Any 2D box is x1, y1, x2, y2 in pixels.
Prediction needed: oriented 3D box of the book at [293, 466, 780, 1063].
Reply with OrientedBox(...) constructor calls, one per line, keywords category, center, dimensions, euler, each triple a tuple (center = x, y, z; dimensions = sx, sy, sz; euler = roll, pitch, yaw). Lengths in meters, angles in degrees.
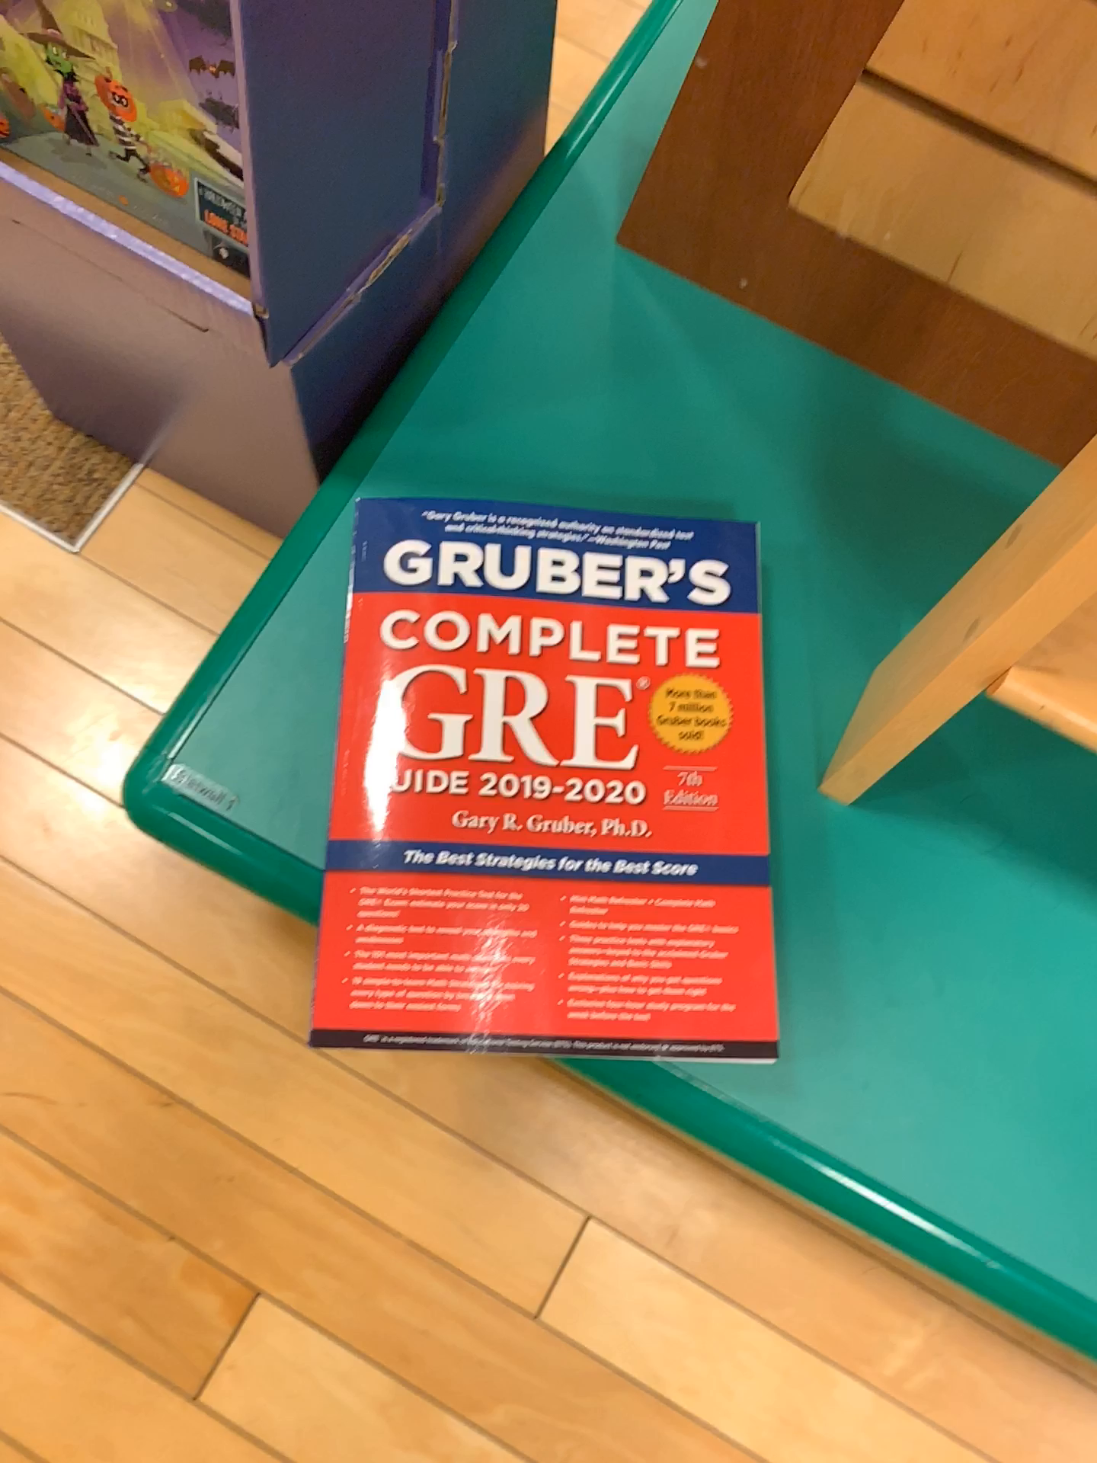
OrientedBox(category="book", center=(-0.001, 0.013, 0.568), dimensions=(0.220, 0.040, 0.290), euler=(3, 73, -4))
